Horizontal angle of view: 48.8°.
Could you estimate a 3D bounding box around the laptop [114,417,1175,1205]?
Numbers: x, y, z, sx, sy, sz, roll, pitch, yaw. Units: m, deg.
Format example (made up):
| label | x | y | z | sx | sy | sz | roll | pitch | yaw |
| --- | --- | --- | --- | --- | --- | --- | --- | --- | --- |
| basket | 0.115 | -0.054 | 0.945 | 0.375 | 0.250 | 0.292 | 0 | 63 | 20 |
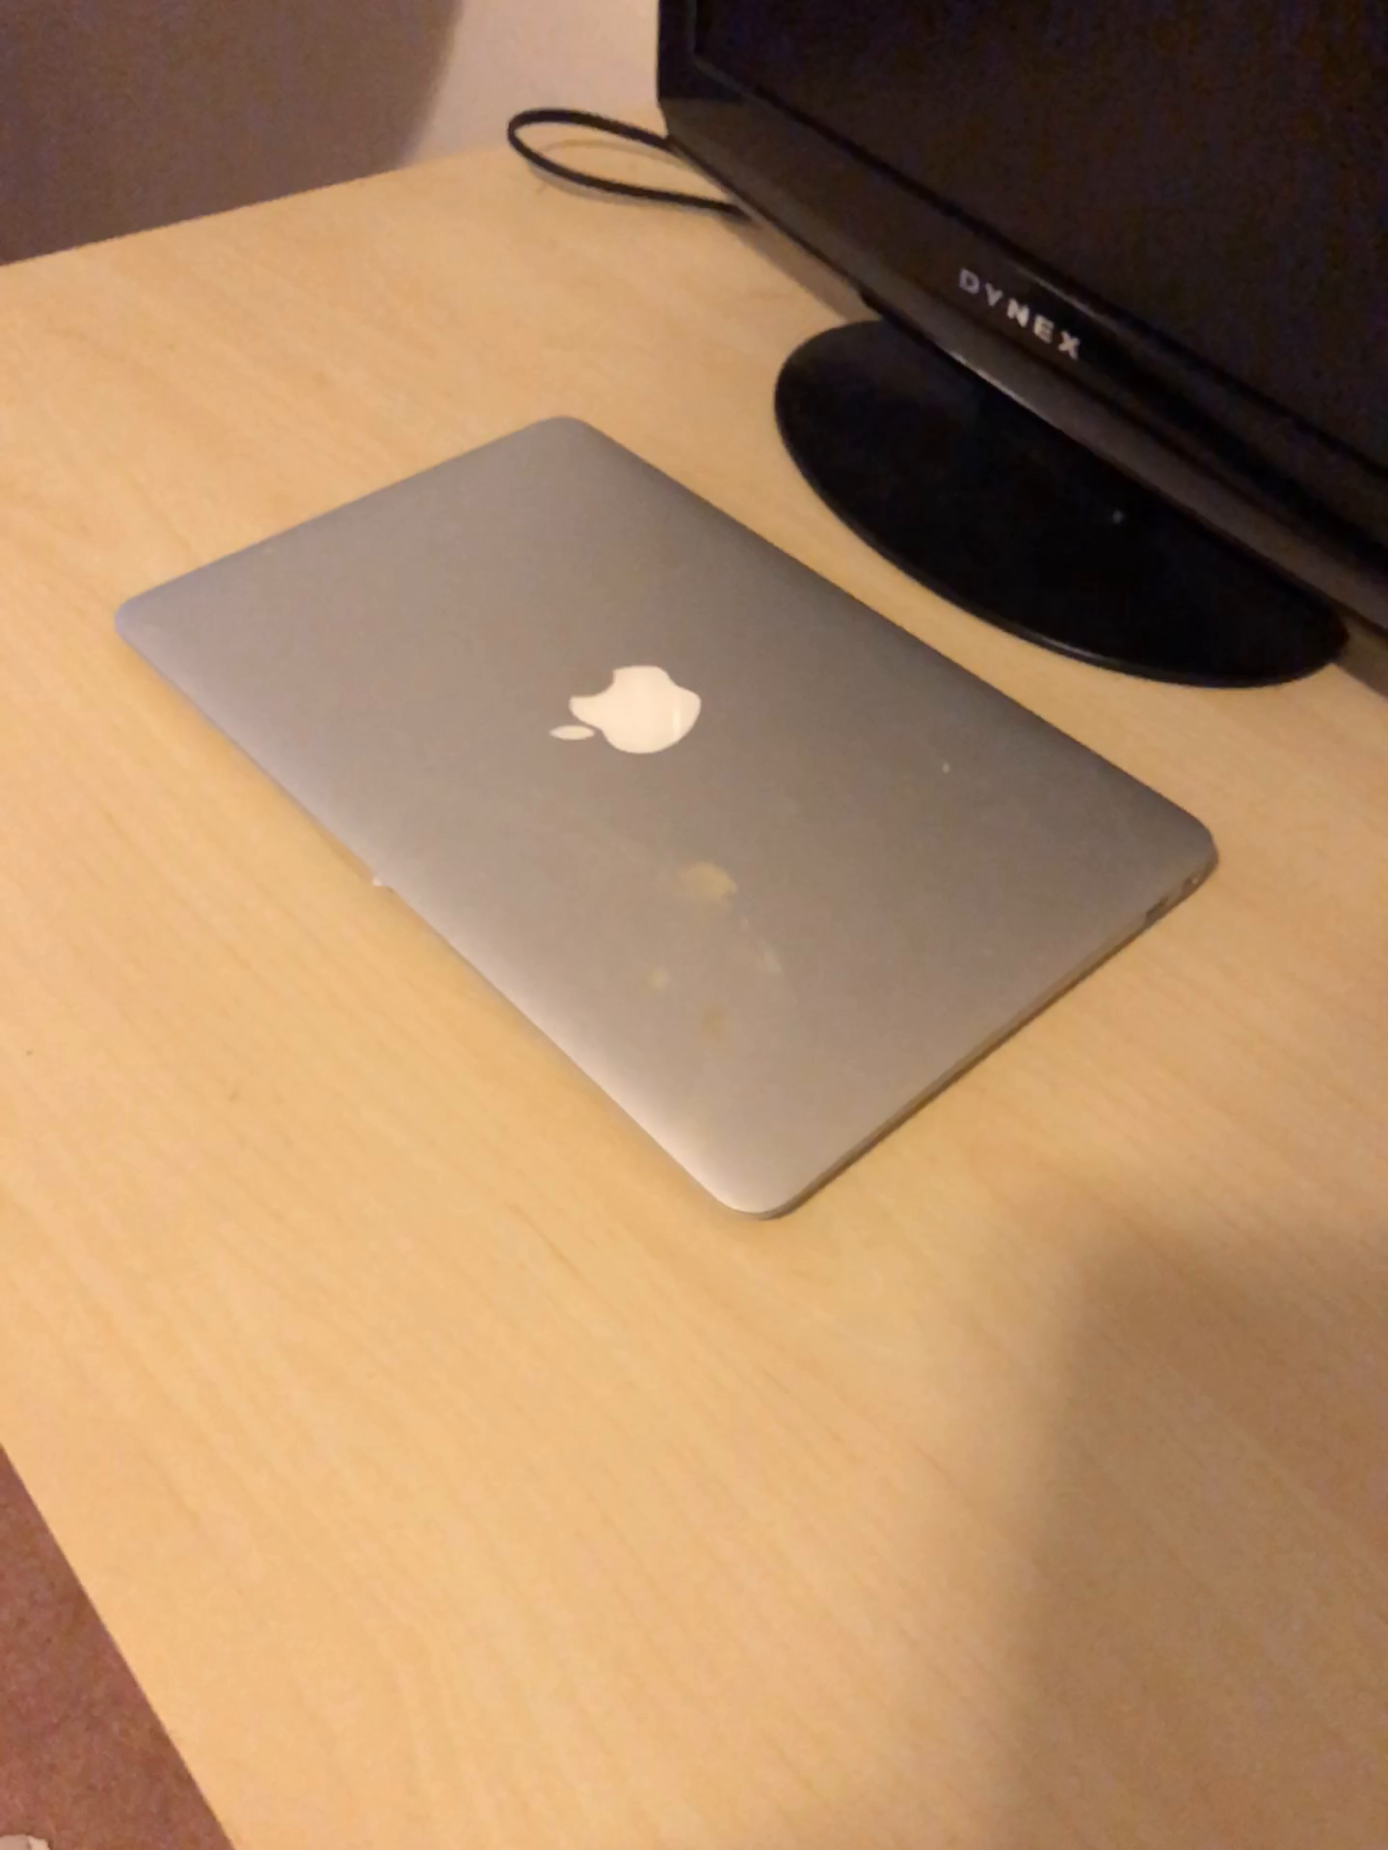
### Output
| label | x | y | z | sx | sy | sz | roll | pitch | yaw |
| --- | --- | --- | --- | --- | --- | --- | --- | --- | --- |
| laptop | -0.022 | -0.061 | 0.467 | 0.181 | 0.005 | 0.279 | -35 | 60 | -28 |
